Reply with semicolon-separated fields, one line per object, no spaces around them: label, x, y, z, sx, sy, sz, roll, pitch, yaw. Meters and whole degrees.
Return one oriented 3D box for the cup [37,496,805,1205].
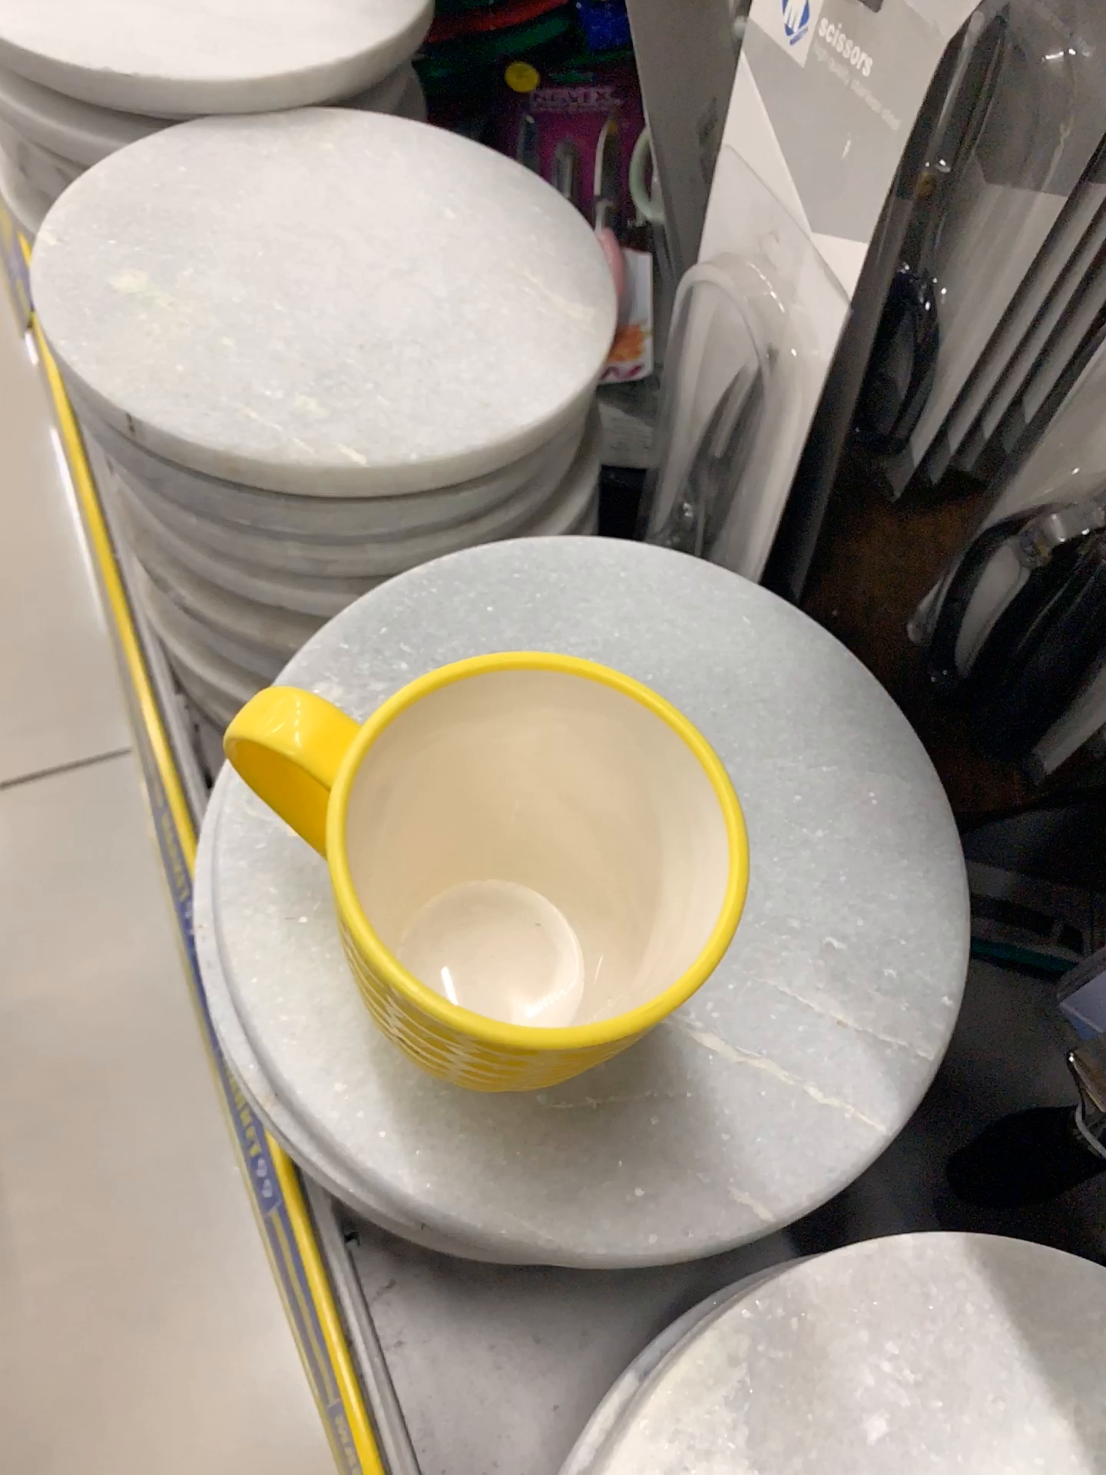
cup;-0.026;0.029;0.259;0.120;0.090;0.090;24;58;5
